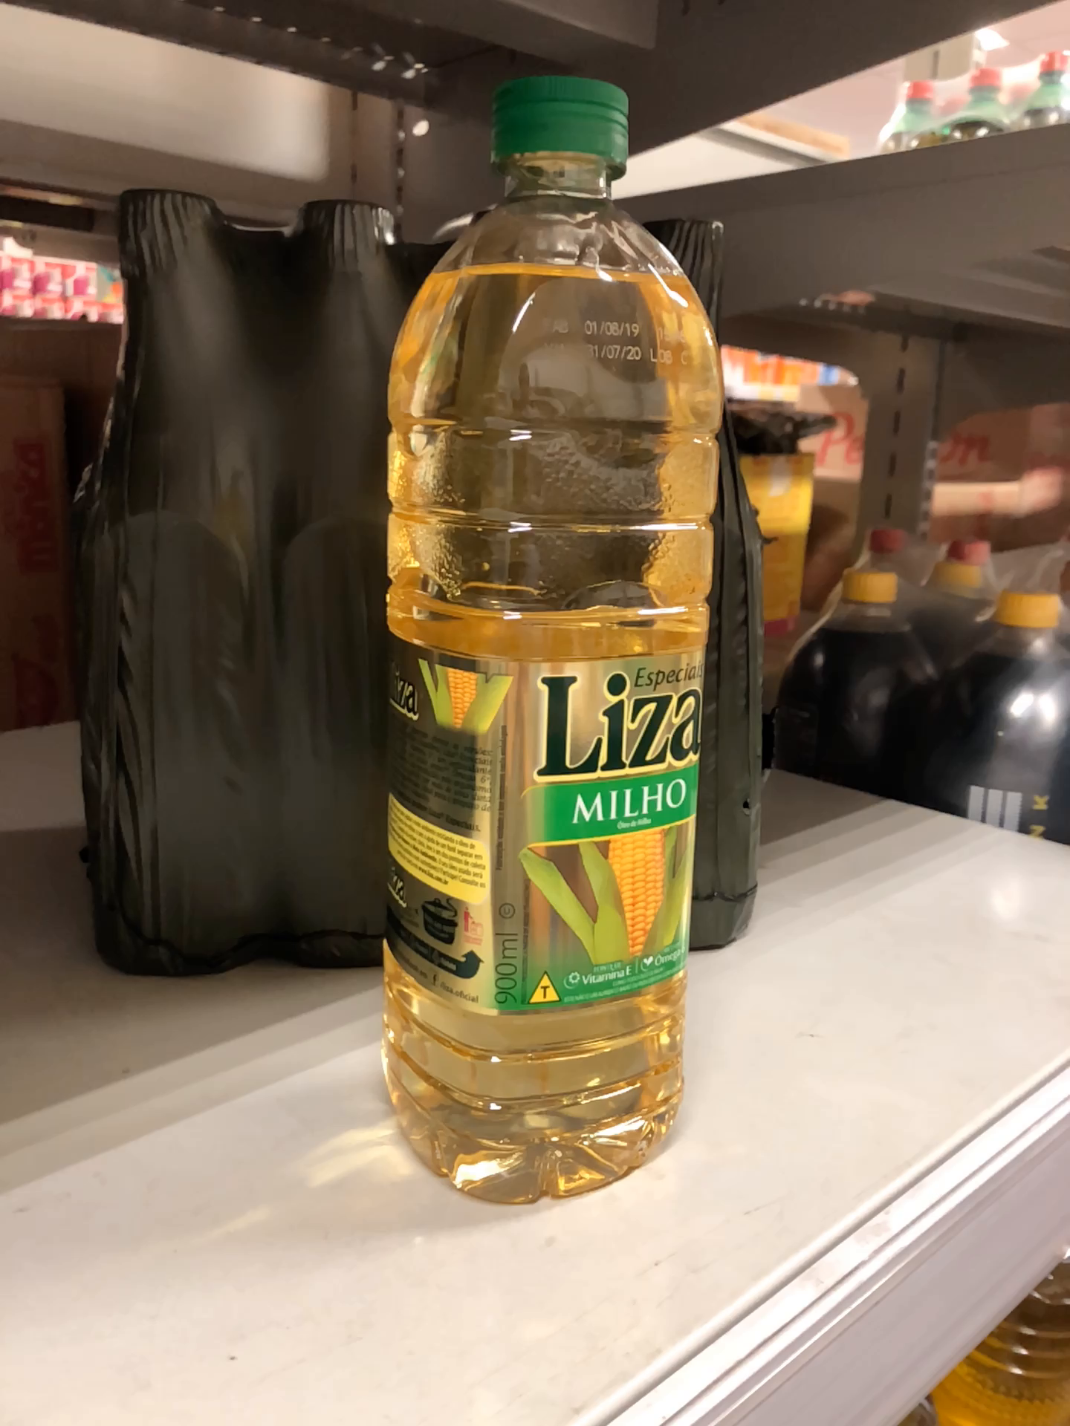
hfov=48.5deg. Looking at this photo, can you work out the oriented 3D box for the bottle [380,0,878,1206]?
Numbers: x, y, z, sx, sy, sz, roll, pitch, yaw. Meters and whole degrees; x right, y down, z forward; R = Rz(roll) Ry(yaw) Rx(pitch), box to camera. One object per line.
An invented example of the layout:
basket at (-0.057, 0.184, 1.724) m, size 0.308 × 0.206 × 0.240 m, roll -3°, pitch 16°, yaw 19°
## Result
bottle at (0.015, -0.023, 0.285) m, size 0.080 × 0.249 × 0.070 m, roll -7°, pitch 17°, yaw -32°
